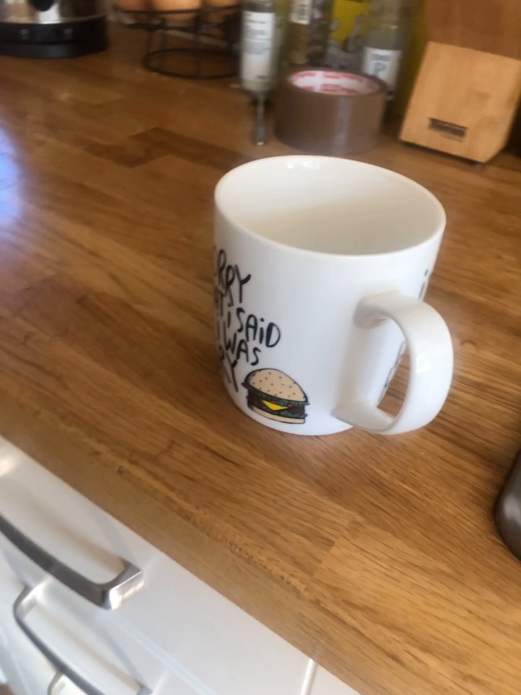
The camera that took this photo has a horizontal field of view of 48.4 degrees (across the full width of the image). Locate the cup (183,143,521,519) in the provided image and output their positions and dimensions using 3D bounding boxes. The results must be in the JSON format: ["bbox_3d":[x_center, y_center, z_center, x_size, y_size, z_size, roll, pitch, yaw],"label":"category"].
[{"bbox_3d":[0.029,-0.016,0.234,0.090,0.087,0.115,-12,41,-20],"label":"cup"}]
